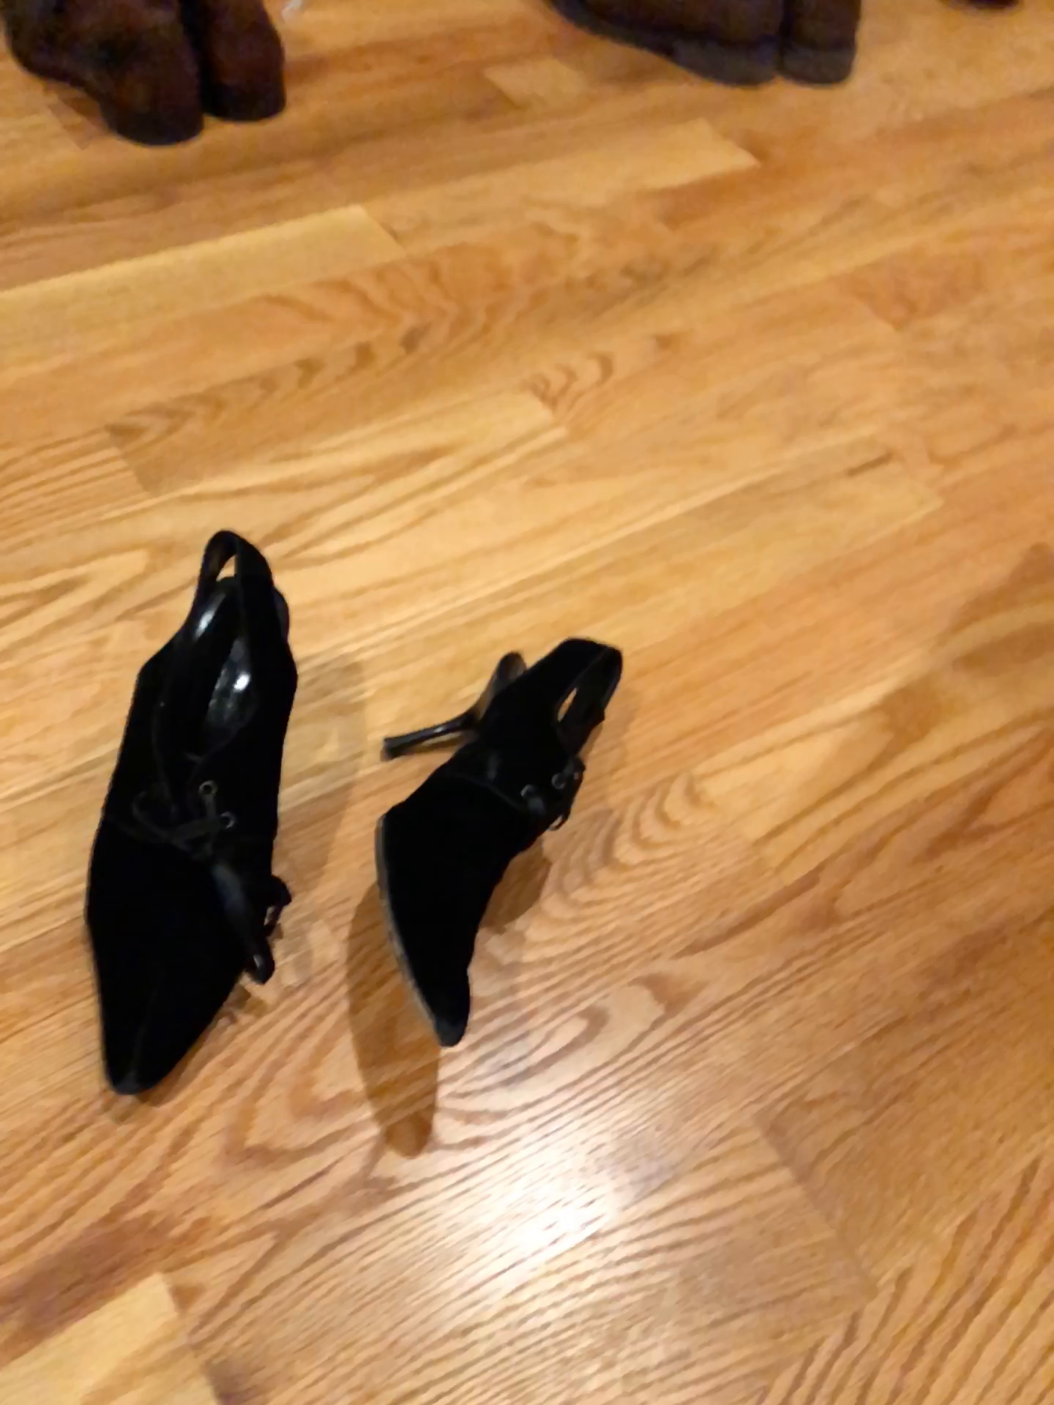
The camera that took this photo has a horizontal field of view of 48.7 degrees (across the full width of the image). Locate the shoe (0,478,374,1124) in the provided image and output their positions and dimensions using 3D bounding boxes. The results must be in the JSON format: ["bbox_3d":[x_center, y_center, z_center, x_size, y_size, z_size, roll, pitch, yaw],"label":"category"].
[{"bbox_3d":[-0.148,0.035,0.523,0.107,0.117,0.253,10,52,0],"label":"shoe"}]

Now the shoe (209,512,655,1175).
[{"bbox_3d":[-0.029,0.051,0.514,0.118,0.107,0.253,13,52,4],"label":"shoe"}]
